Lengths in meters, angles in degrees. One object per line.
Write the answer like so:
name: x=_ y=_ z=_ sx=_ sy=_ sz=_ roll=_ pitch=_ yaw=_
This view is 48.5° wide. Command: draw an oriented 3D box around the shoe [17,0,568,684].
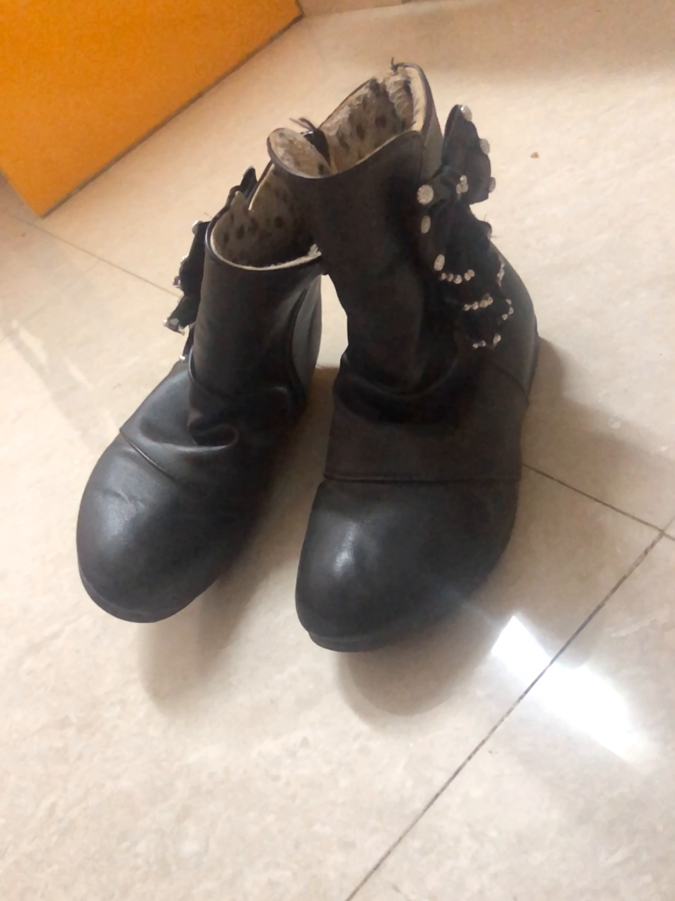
shoe: x=0.012 y=-0.050 z=0.294 sx=0.090 sy=0.139 sz=0.221 roll=-2 pitch=49 yaw=32

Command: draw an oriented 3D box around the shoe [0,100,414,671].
shoe: x=-0.053 y=-0.029 z=0.342 sx=0.090 sy=0.139 sz=0.201 roll=22 pitch=58 yaw=5
